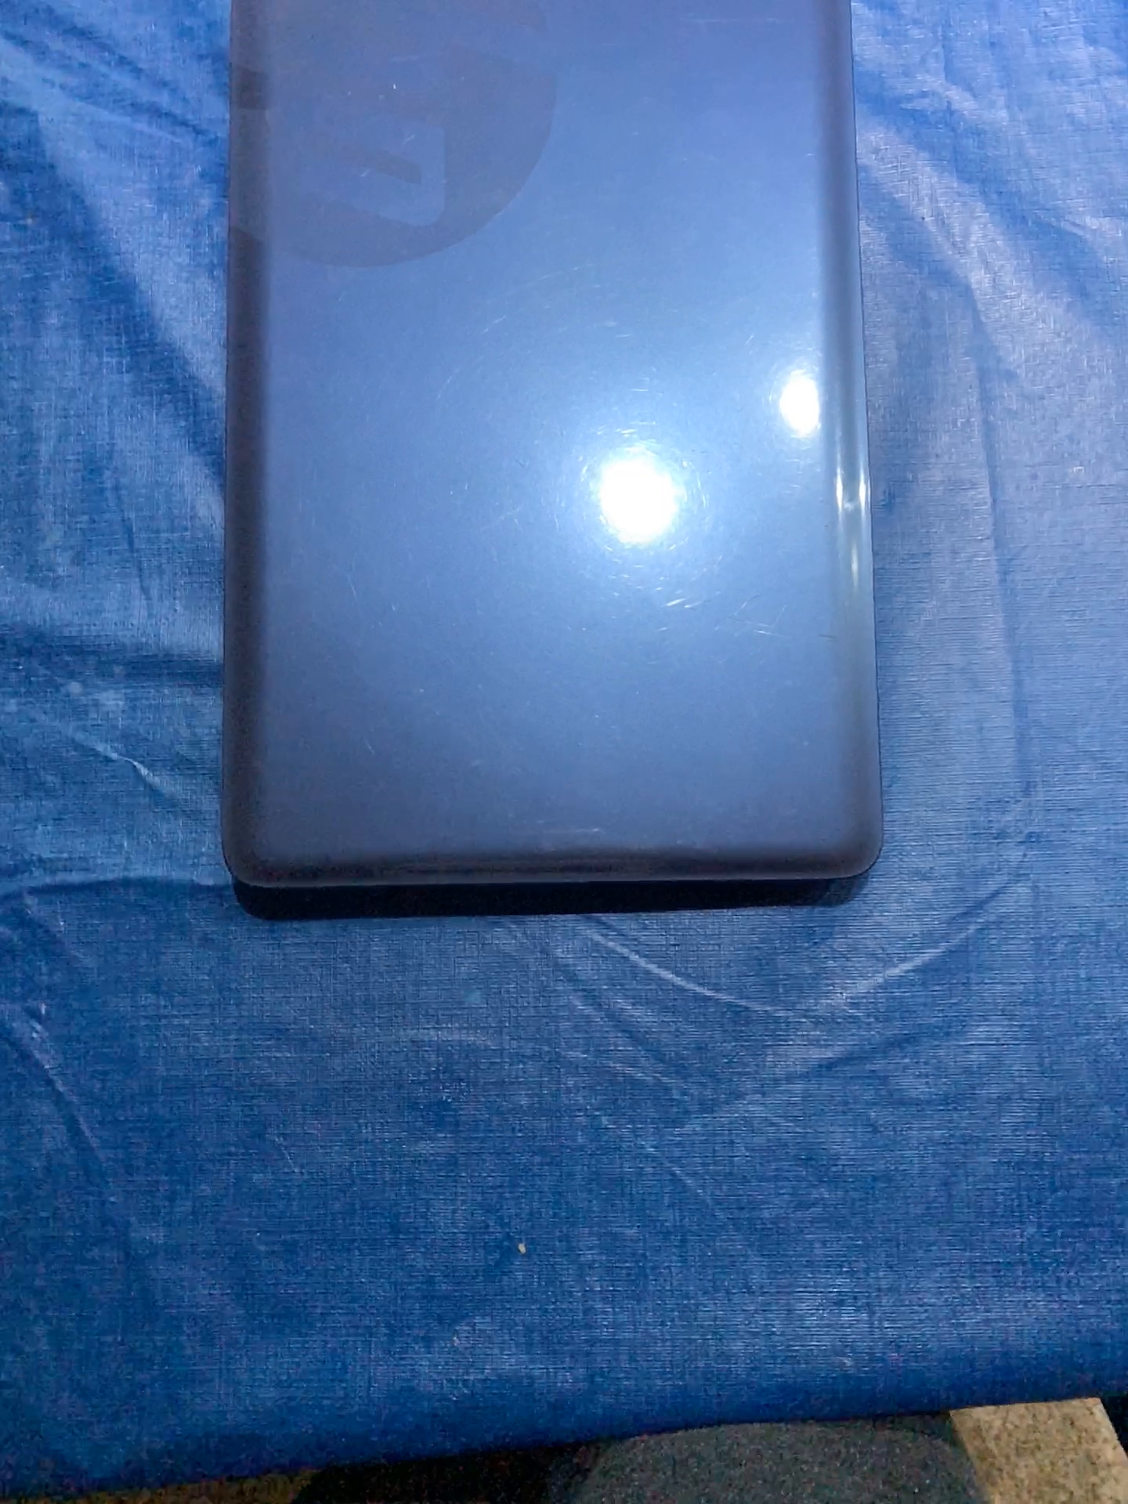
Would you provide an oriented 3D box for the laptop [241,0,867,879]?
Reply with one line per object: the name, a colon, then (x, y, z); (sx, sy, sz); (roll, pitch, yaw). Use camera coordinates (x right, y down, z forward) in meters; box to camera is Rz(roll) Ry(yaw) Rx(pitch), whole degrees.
laptop: (-0.006, -0.136, 0.451); (0.235, 0.009, 0.363); (-1, 86, 0)
